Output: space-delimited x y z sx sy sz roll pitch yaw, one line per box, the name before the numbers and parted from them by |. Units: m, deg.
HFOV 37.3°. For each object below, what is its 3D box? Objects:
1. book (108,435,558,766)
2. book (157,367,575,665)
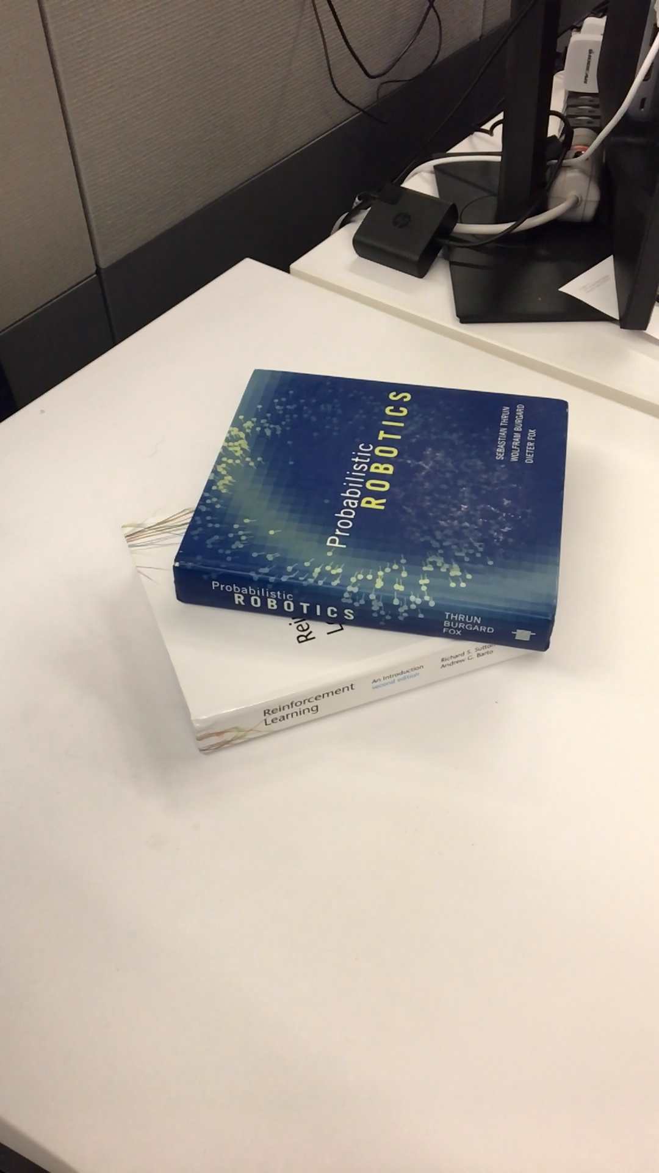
book | -0.005 -0.003 0.643 0.240 0.030 0.190 -16 50 -13
book | 0.035 -0.058 0.646 0.240 0.030 0.210 8 49 8
